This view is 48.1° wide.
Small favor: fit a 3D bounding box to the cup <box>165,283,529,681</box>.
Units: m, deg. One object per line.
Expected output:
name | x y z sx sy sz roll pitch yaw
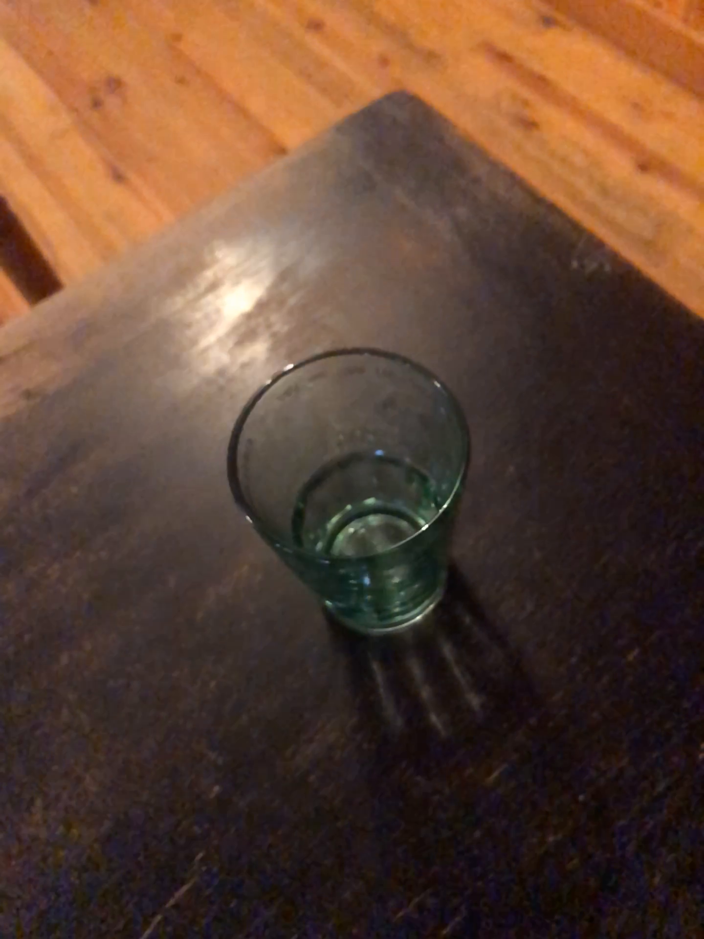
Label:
cup | 0.003 0.009 0.307 0.089 0.103 0.083 -3 62 6
